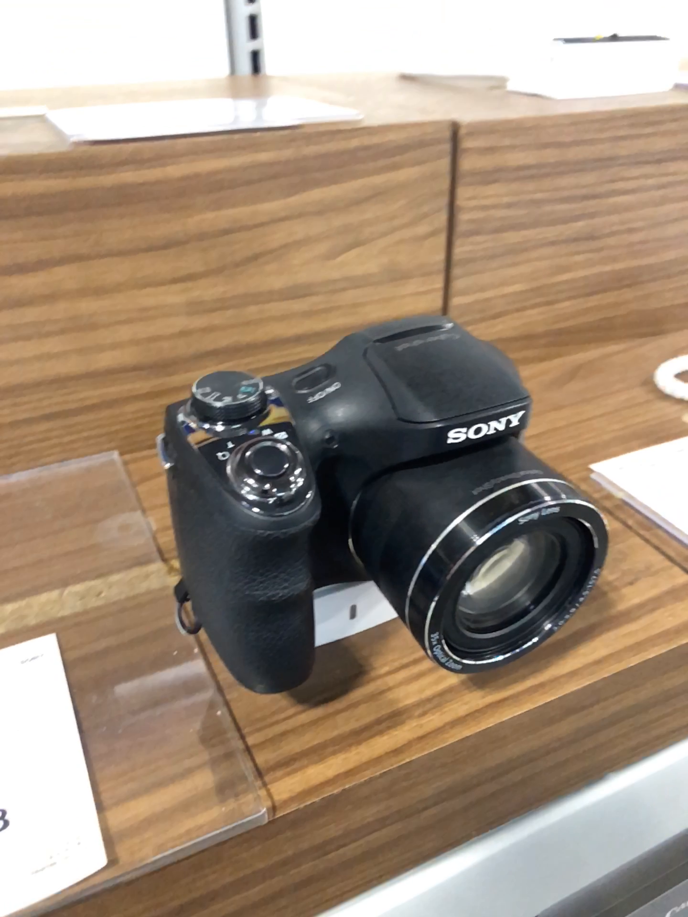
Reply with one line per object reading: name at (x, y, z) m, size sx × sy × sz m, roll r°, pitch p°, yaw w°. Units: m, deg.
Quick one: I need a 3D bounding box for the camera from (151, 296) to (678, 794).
camera at (0.017, 0.015, 0.240) m, size 0.120 × 0.092 × 0.090 m, roll -15°, pitch 32°, yaw -24°
